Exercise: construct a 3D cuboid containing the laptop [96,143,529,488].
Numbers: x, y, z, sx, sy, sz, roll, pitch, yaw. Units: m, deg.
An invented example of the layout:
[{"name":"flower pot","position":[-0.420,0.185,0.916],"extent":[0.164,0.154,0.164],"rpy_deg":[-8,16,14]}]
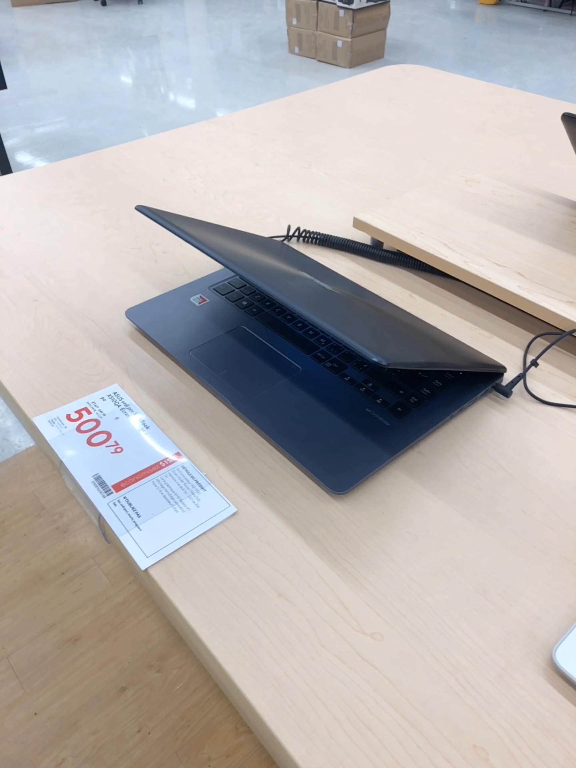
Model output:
[{"name":"laptop","position":[0.012,-0.099,0.646],"extent":[0.232,0.136,0.345],"rpy_deg":[-30,50,-30]}]
